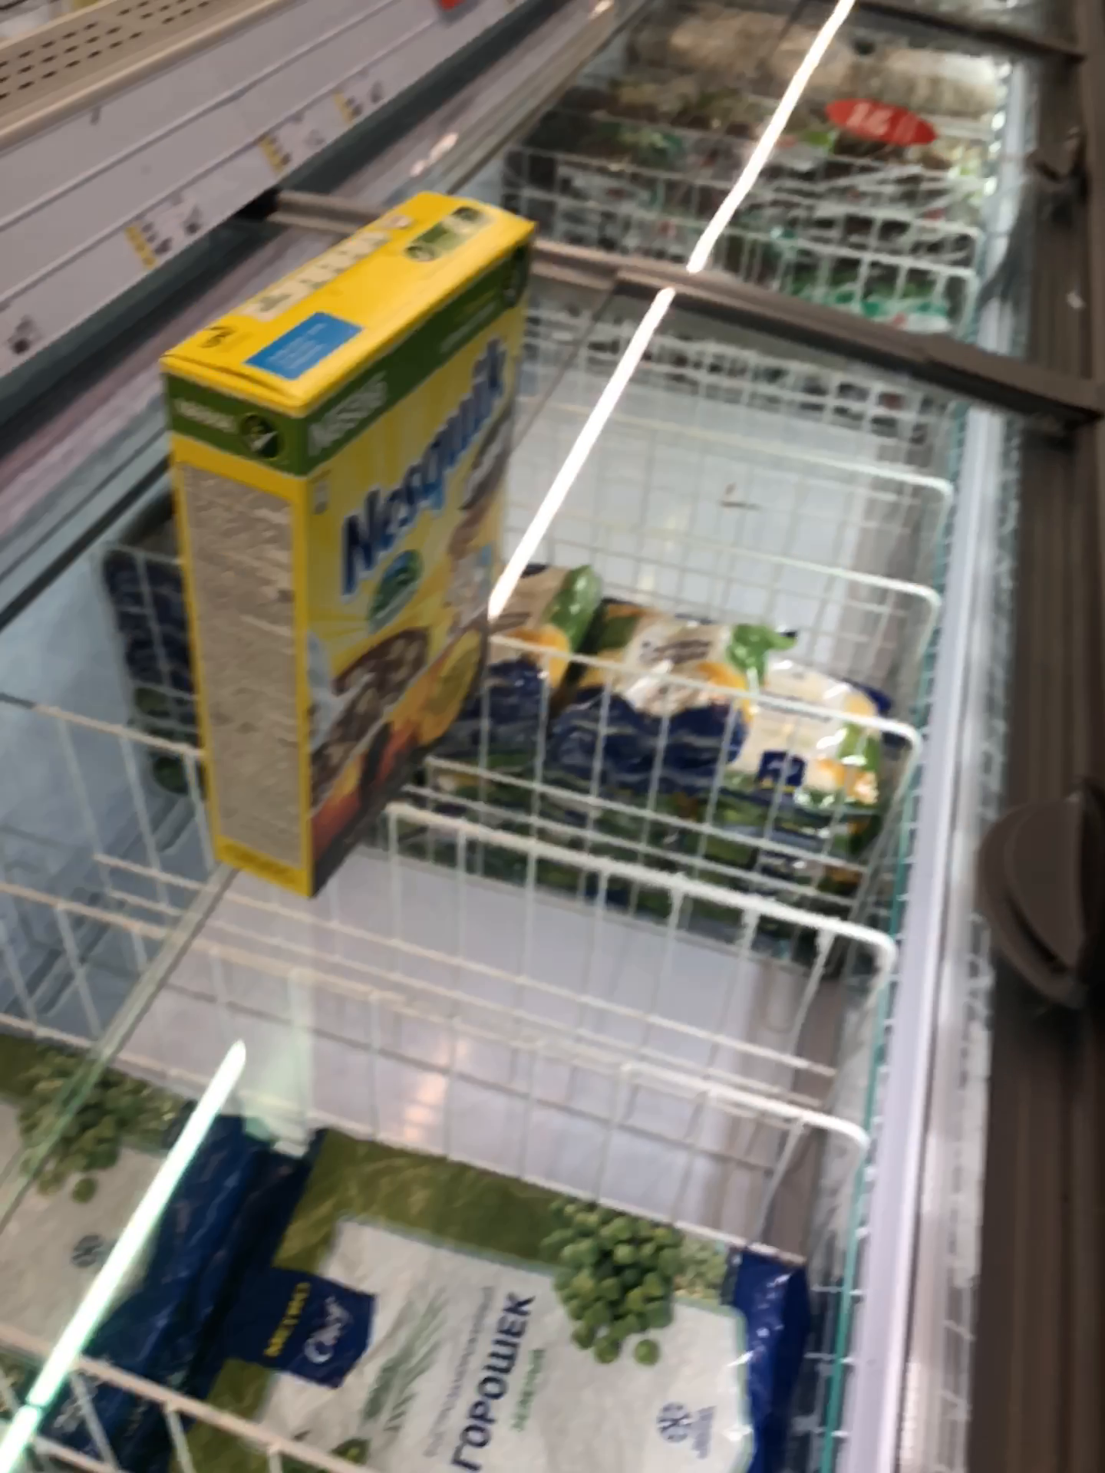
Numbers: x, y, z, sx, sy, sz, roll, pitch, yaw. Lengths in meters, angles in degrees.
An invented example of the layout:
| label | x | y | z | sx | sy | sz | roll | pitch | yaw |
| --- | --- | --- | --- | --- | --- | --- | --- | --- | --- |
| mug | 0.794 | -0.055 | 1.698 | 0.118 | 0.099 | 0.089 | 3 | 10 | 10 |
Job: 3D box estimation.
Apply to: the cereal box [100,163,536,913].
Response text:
| label | x | y | z | sx | sy | sz | roll | pitch | yaw |
| --- | --- | --- | --- | --- | --- | --- | --- | --- | --- |
| cereal box | -0.095 | -0.087 | 0.575 | 0.070 | 0.278 | 0.201 | 22 | 46 | 13 |
